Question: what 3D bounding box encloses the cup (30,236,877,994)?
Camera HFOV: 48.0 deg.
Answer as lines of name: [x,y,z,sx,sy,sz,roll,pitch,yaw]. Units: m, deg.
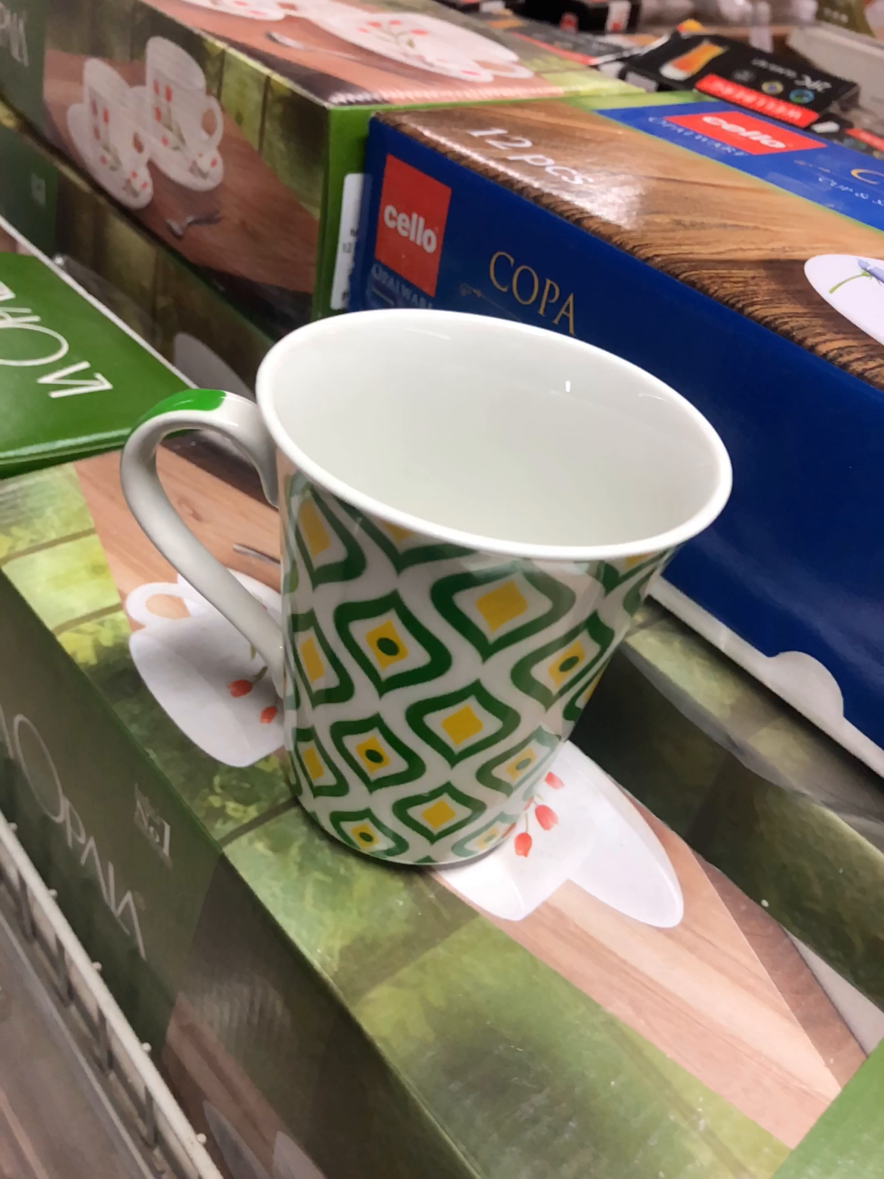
cup: [-0.001,0.006,0.204,0.120,0.109,0.081,11,40,1]
